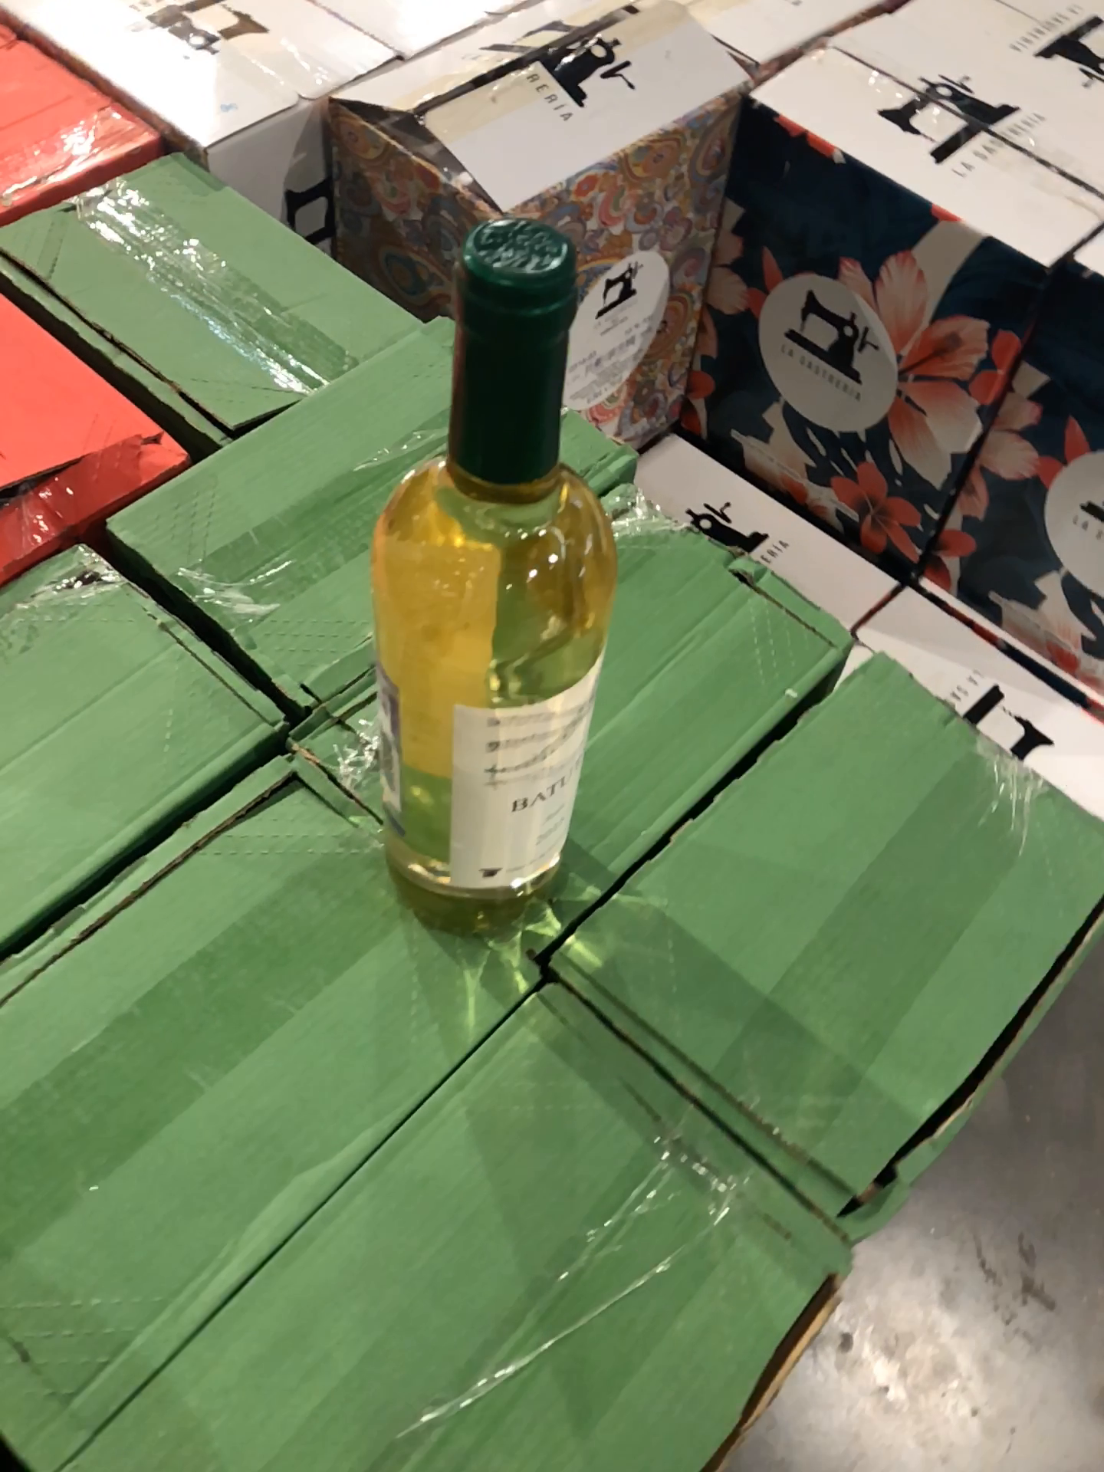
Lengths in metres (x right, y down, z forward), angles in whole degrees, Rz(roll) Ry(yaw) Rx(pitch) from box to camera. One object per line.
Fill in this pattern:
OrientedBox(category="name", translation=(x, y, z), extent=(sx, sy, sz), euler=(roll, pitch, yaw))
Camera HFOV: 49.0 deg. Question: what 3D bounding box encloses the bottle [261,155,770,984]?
OrientedBox(category="bottle", translation=(-0.017, -0.026, 0.384), extent=(0.084, 0.262, 0.080), euler=(2, 56, -4))
